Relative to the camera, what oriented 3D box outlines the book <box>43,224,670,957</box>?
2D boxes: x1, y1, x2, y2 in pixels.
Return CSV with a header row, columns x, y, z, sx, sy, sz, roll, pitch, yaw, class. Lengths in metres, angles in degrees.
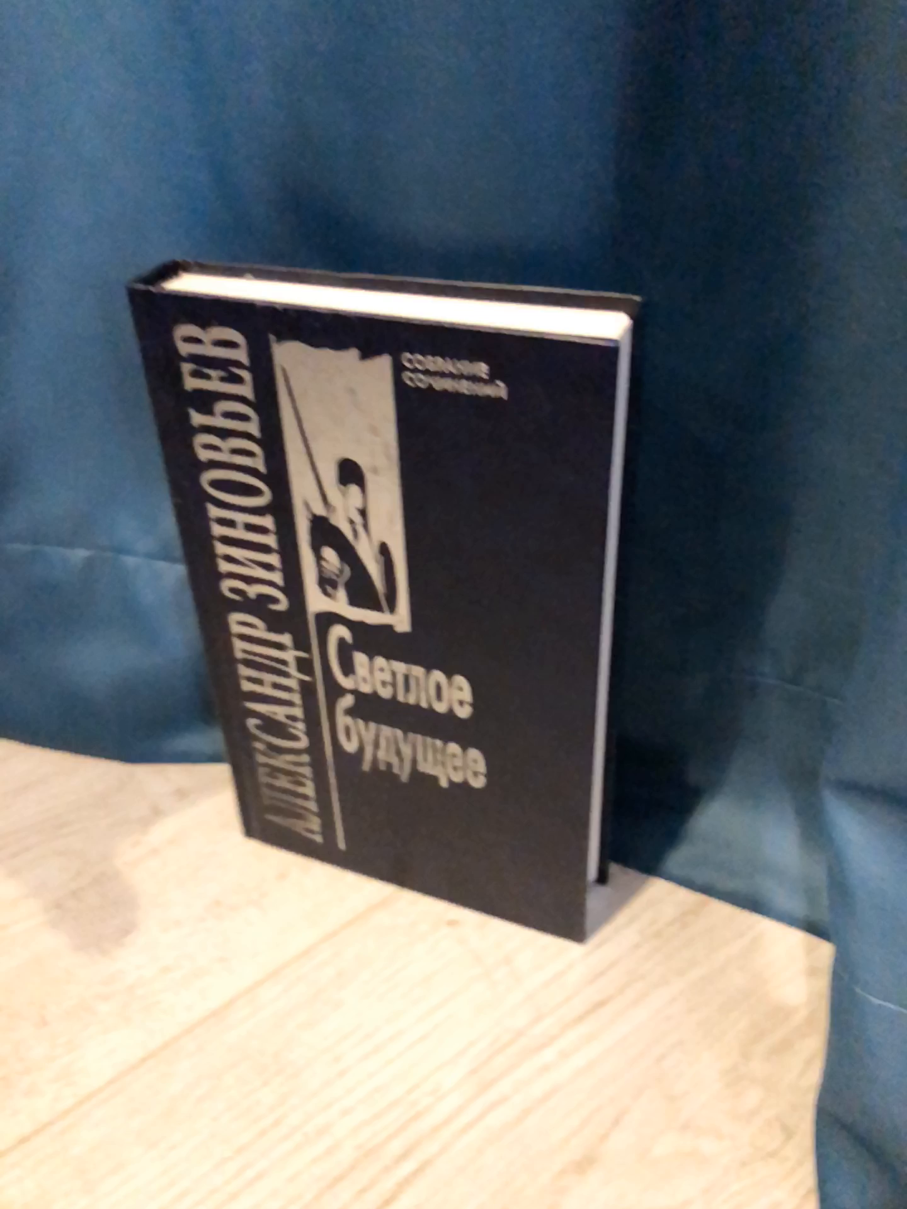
x,y,z,sx,sy,sz,roll,pitch,yaw,class
-0.024,0.001,0.299,0.150,0.199,0.040,12,35,20,book
